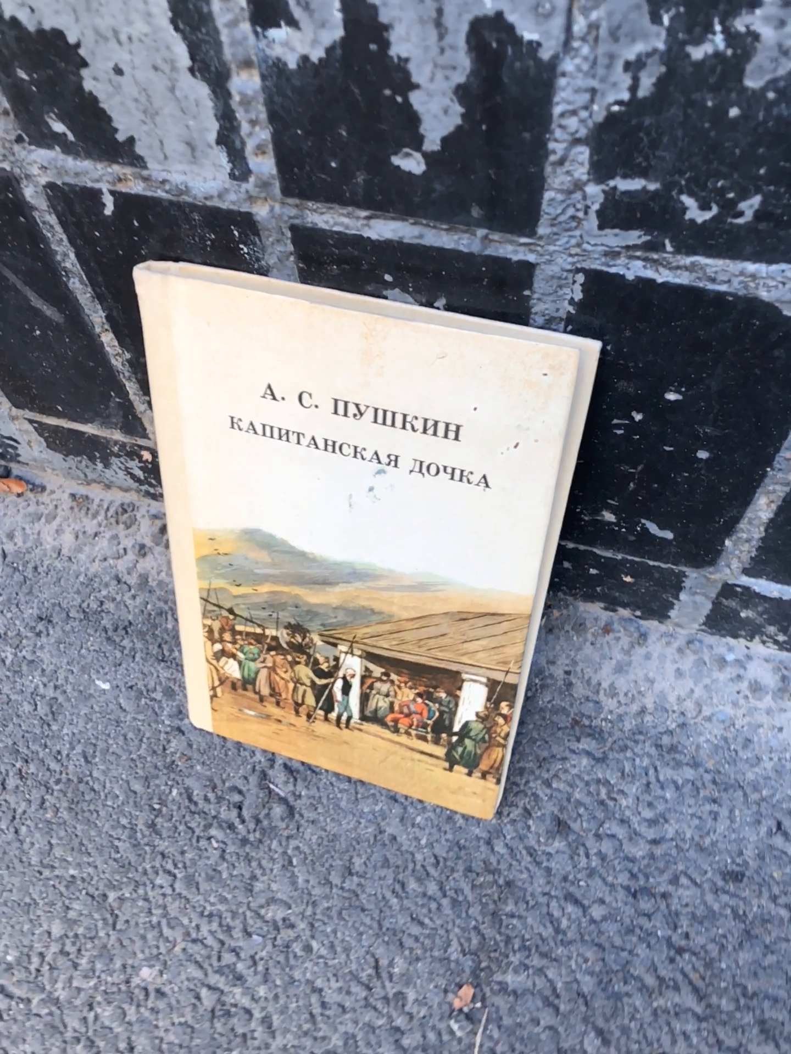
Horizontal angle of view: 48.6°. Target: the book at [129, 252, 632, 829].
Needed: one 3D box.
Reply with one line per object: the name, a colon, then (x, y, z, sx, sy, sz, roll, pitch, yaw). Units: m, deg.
book: (-0.014, 0.019, 0.325, 0.150, 0.214, 0.020, 14, 39, 11)
